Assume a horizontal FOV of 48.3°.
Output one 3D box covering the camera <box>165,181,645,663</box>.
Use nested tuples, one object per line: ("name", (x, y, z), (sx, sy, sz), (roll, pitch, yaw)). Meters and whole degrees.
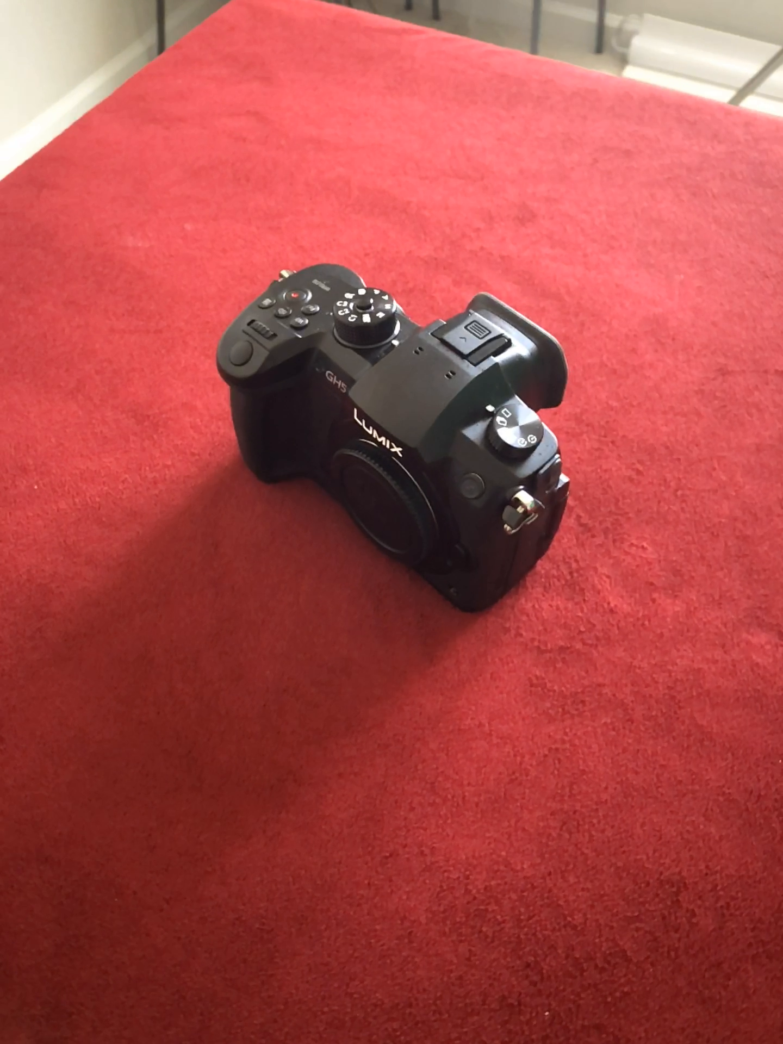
("camera", (0.000, -0.042, 0.332), (0.085, 0.087, 0.148), (-37, 63, -24))
